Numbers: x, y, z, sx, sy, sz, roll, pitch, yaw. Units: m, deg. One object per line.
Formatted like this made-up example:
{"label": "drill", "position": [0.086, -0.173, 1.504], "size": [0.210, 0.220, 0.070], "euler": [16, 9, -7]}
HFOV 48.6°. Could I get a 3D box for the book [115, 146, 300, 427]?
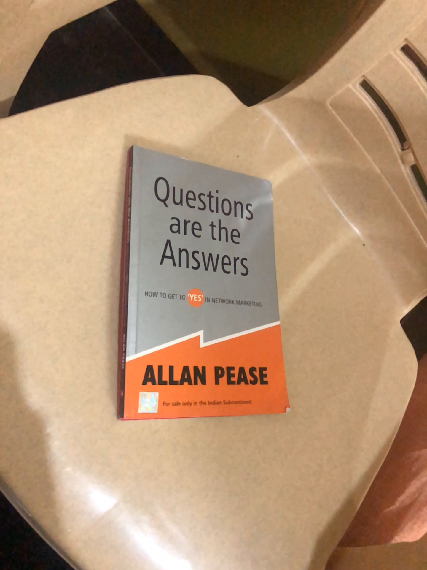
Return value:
{"label": "book", "position": [-0.001, 0.003, 0.388], "size": [0.150, 0.020, 0.210], "euler": [6, 76, -27]}
